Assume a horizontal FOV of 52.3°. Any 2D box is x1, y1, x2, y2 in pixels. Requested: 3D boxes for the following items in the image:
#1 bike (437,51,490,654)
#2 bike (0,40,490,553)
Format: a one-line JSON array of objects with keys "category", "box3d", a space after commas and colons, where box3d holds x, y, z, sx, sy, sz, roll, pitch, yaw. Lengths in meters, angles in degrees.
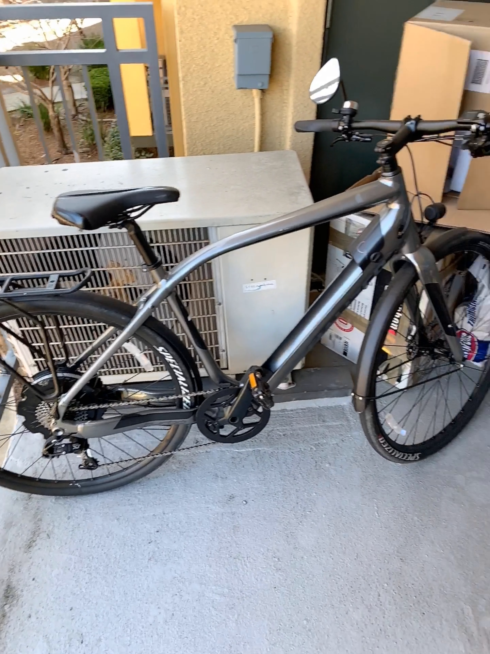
[{"category": "bike", "box3d": [0.835, 0.330, 0.864, 0.362, 0.932, 1.509, 0, 47, -1]}, {"category": "bike", "box3d": [-0.004, -0.115, 1.327, 1.582, 0.971, 0.625, -9, 44, -12]}]
